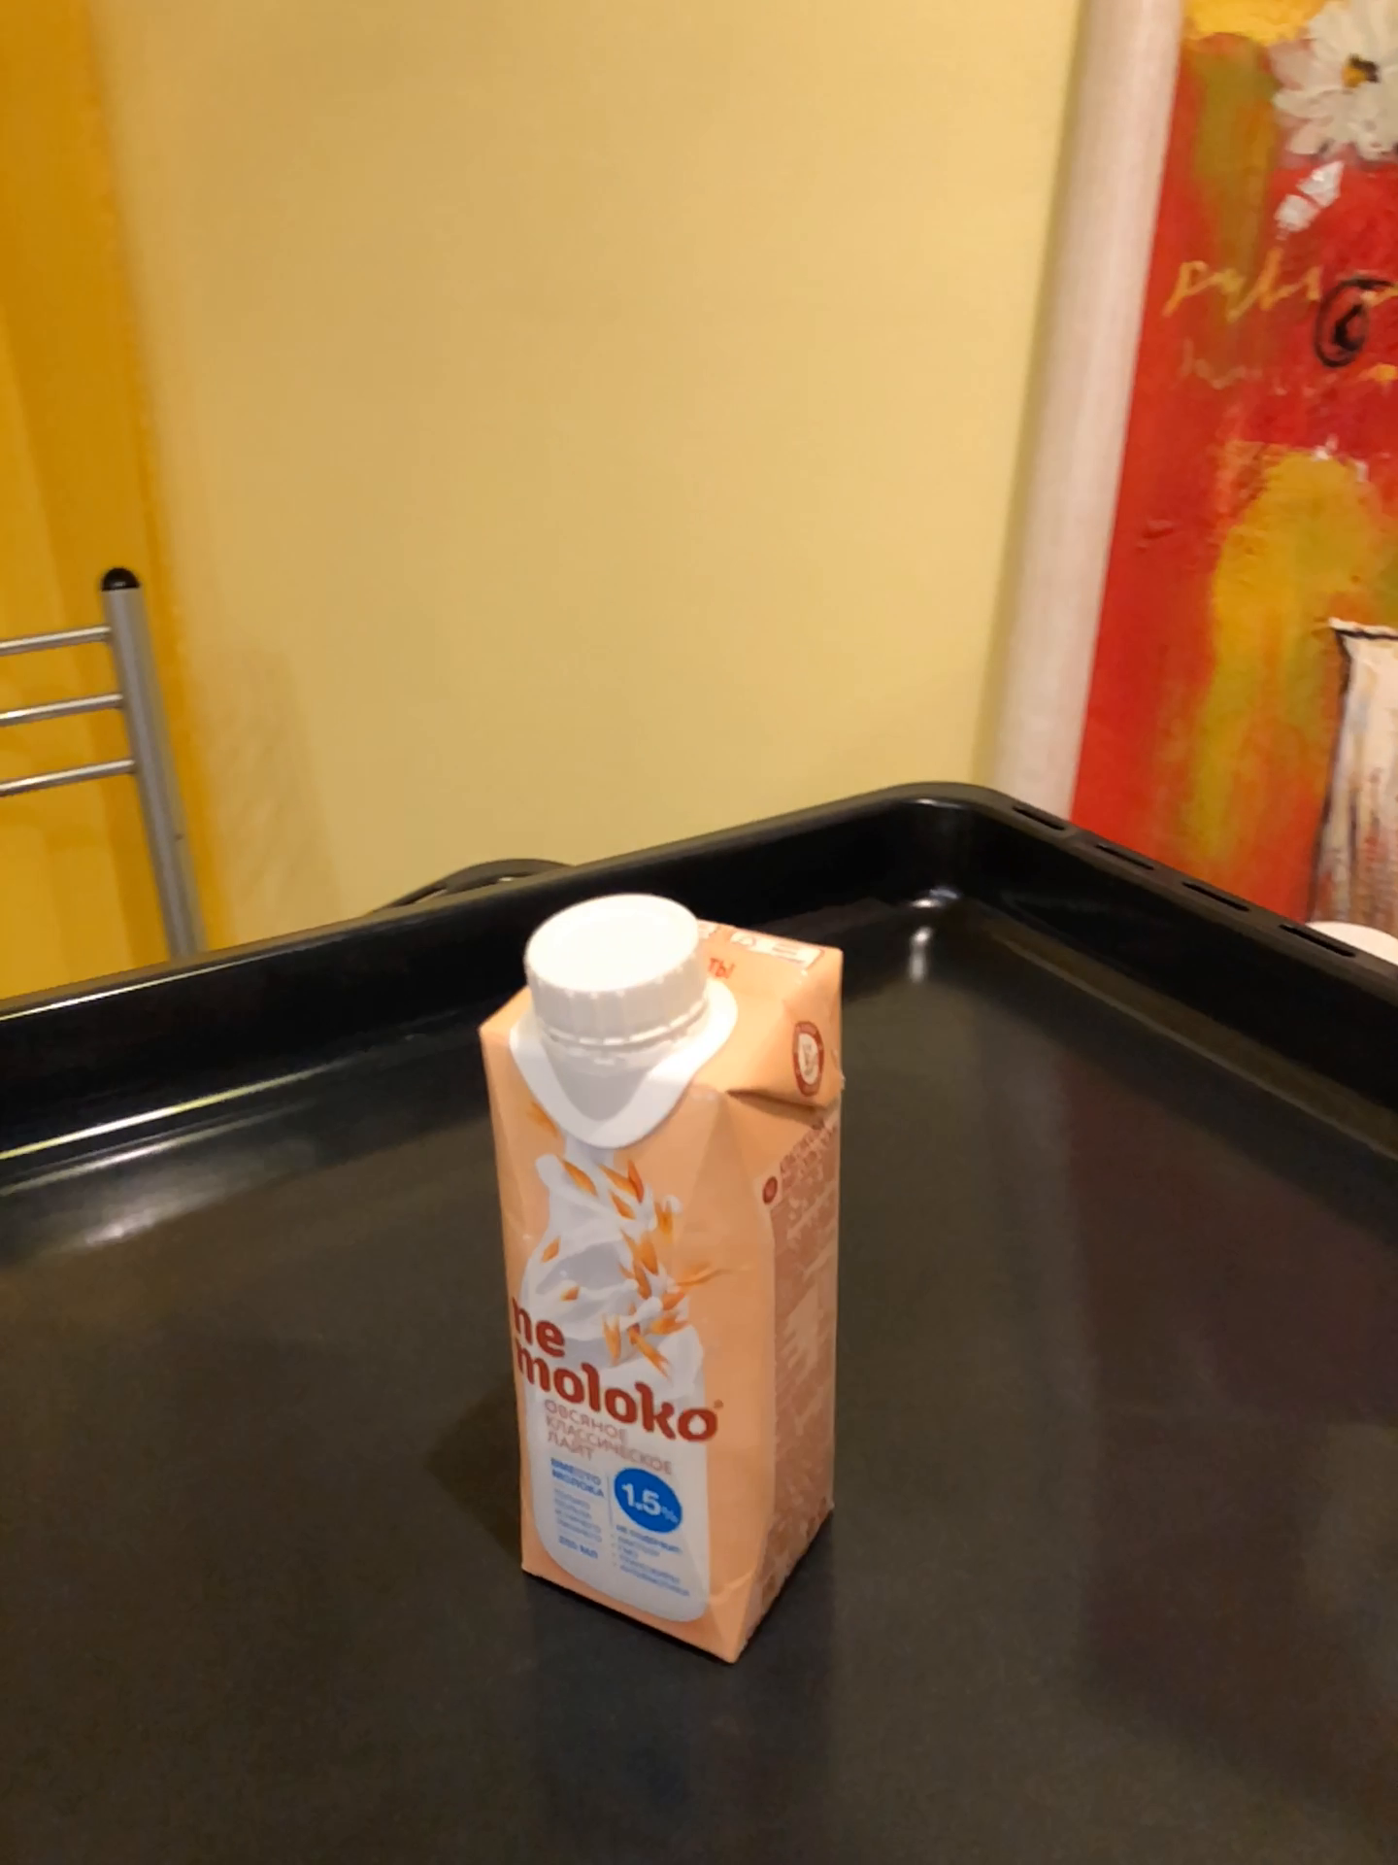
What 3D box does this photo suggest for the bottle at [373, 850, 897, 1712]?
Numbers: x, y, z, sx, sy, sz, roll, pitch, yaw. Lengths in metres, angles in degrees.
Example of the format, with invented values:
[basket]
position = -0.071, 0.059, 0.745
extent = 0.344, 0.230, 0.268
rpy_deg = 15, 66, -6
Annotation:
[bottle]
position = -0.008, 0.057, 0.266
extent = 0.060, 0.119, 0.060
rpy_deg = 0, 24, 0
